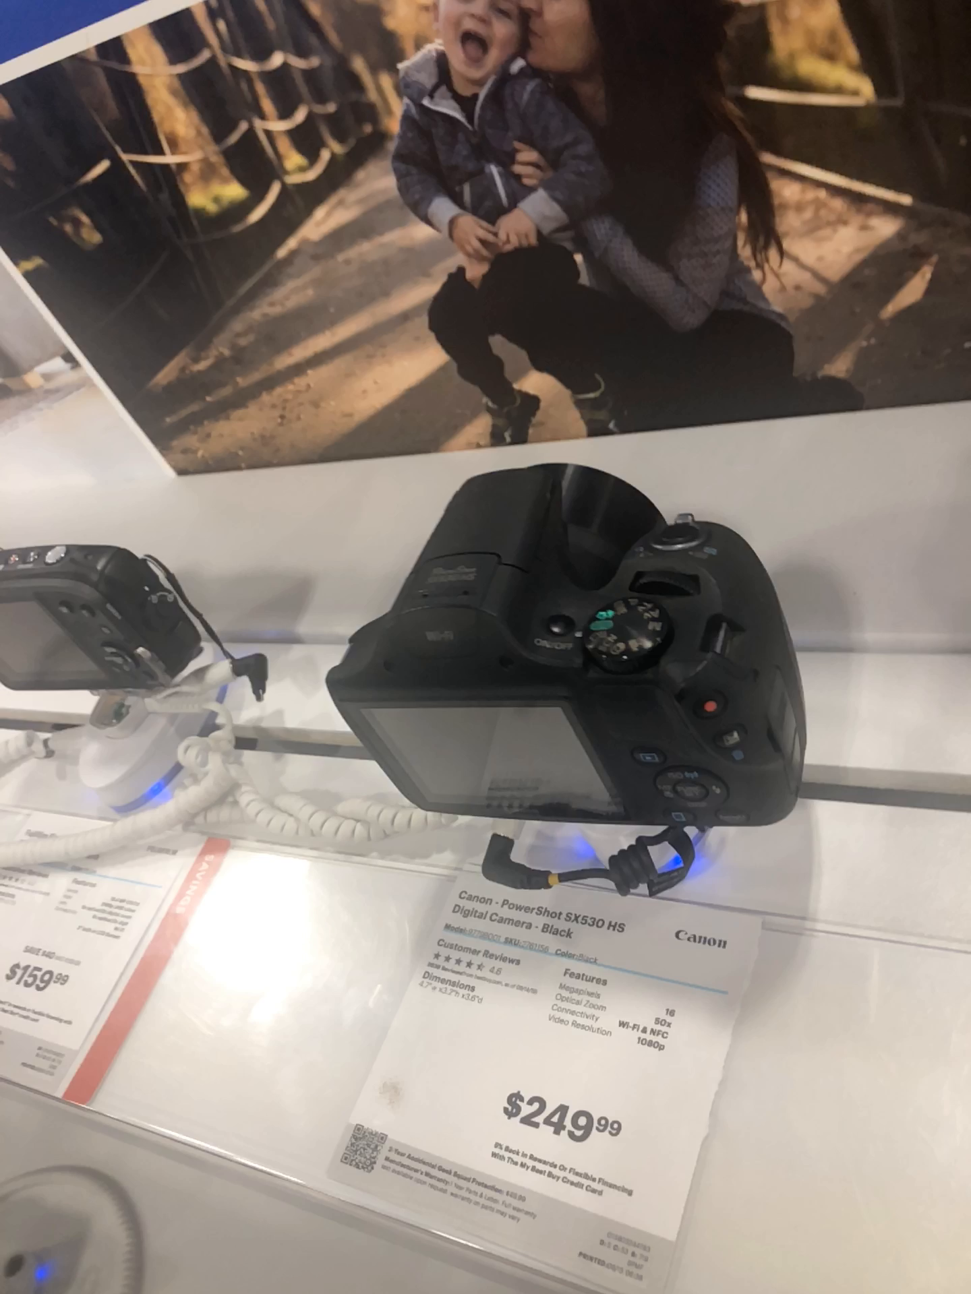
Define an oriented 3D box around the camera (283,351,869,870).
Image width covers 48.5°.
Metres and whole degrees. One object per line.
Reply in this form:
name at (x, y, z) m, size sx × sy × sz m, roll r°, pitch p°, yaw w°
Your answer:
camera at (0.031, -0.010, 0.297) m, size 0.120 × 0.070 × 0.110 m, roll -1°, pitch 49°, yaw 30°
